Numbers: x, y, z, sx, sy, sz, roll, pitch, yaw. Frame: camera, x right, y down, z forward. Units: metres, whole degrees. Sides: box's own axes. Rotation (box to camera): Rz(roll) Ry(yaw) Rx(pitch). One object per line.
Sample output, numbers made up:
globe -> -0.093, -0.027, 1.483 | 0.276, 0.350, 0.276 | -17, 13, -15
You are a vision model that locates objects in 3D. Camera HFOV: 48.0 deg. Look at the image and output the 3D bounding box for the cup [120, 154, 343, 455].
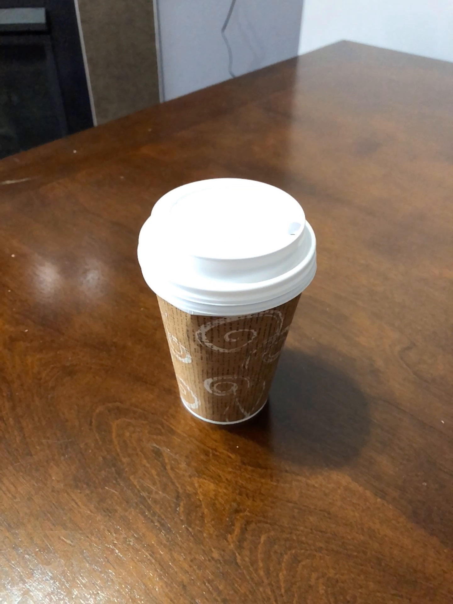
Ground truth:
cup -> 0.002, 0.001, 0.222 | 0.070, 0.100, 0.080 | 3, 40, 2
